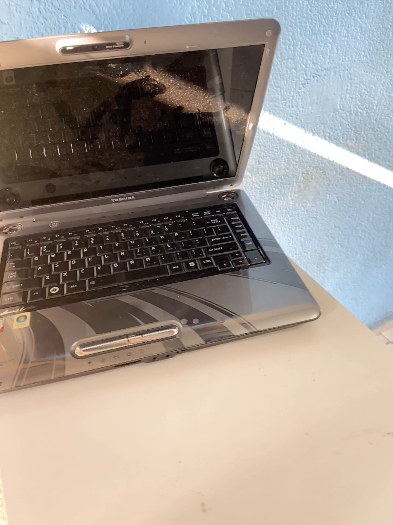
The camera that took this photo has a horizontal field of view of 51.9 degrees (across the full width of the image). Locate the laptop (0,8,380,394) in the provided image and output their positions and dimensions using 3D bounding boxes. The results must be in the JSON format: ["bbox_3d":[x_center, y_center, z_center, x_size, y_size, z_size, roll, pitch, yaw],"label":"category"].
[{"bbox_3d":[-0.078,-0.086,0.413,0.358,0.235,0.260,-11,41,-9],"label":"laptop"}]
